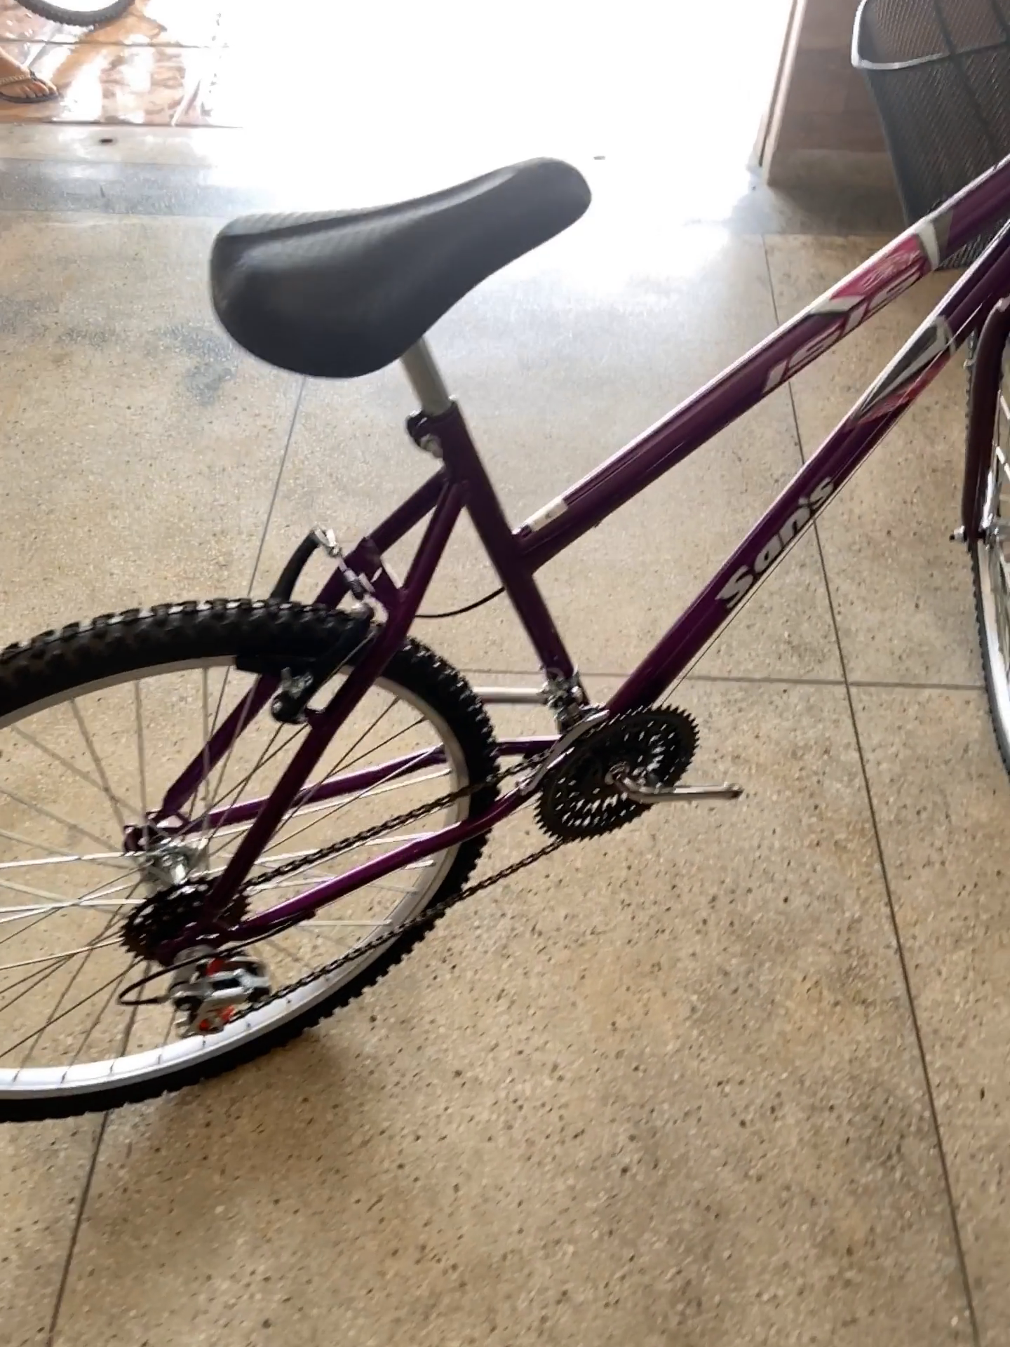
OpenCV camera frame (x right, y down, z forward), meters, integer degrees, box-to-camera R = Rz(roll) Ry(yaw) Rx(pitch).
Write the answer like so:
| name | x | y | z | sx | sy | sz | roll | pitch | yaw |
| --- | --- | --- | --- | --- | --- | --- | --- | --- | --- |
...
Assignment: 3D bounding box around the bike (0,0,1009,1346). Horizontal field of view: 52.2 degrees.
| name | x | y | z | sx | sy | sz | roll | pitch | yaw |
| --- | --- | --- | --- | --- | --- | --- | --- | --- | --- |
| bike | 0.040 | -0.185 | 0.927 | 1.525 | 1.035 | 0.574 | -32 | 58 | -20 |
